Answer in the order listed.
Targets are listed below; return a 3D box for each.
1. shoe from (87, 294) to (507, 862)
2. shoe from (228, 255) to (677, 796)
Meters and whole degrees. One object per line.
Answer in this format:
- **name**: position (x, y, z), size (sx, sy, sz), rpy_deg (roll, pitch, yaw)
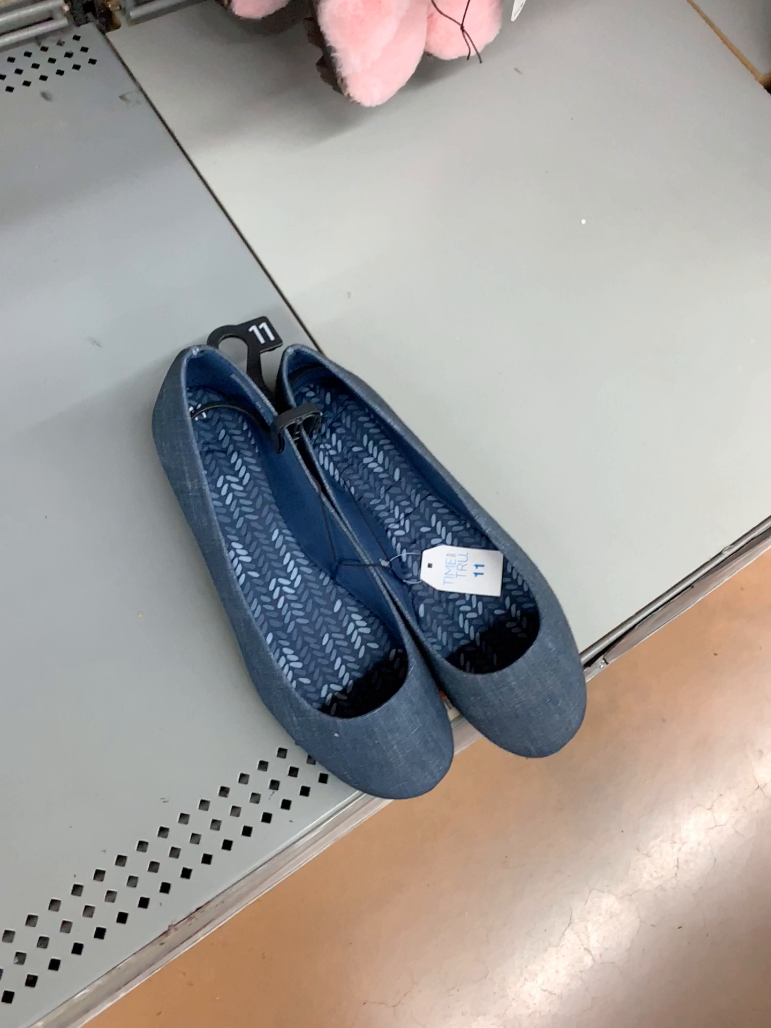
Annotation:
- **shoe**: position (-0.053, 0.031, 0.441), size (0.090, 0.090, 0.280), rpy_deg (-27, 79, -13)
- **shoe**: position (0.027, 0.006, 0.451), size (0.090, 0.090, 0.280), rpy_deg (-32, 80, -10)
